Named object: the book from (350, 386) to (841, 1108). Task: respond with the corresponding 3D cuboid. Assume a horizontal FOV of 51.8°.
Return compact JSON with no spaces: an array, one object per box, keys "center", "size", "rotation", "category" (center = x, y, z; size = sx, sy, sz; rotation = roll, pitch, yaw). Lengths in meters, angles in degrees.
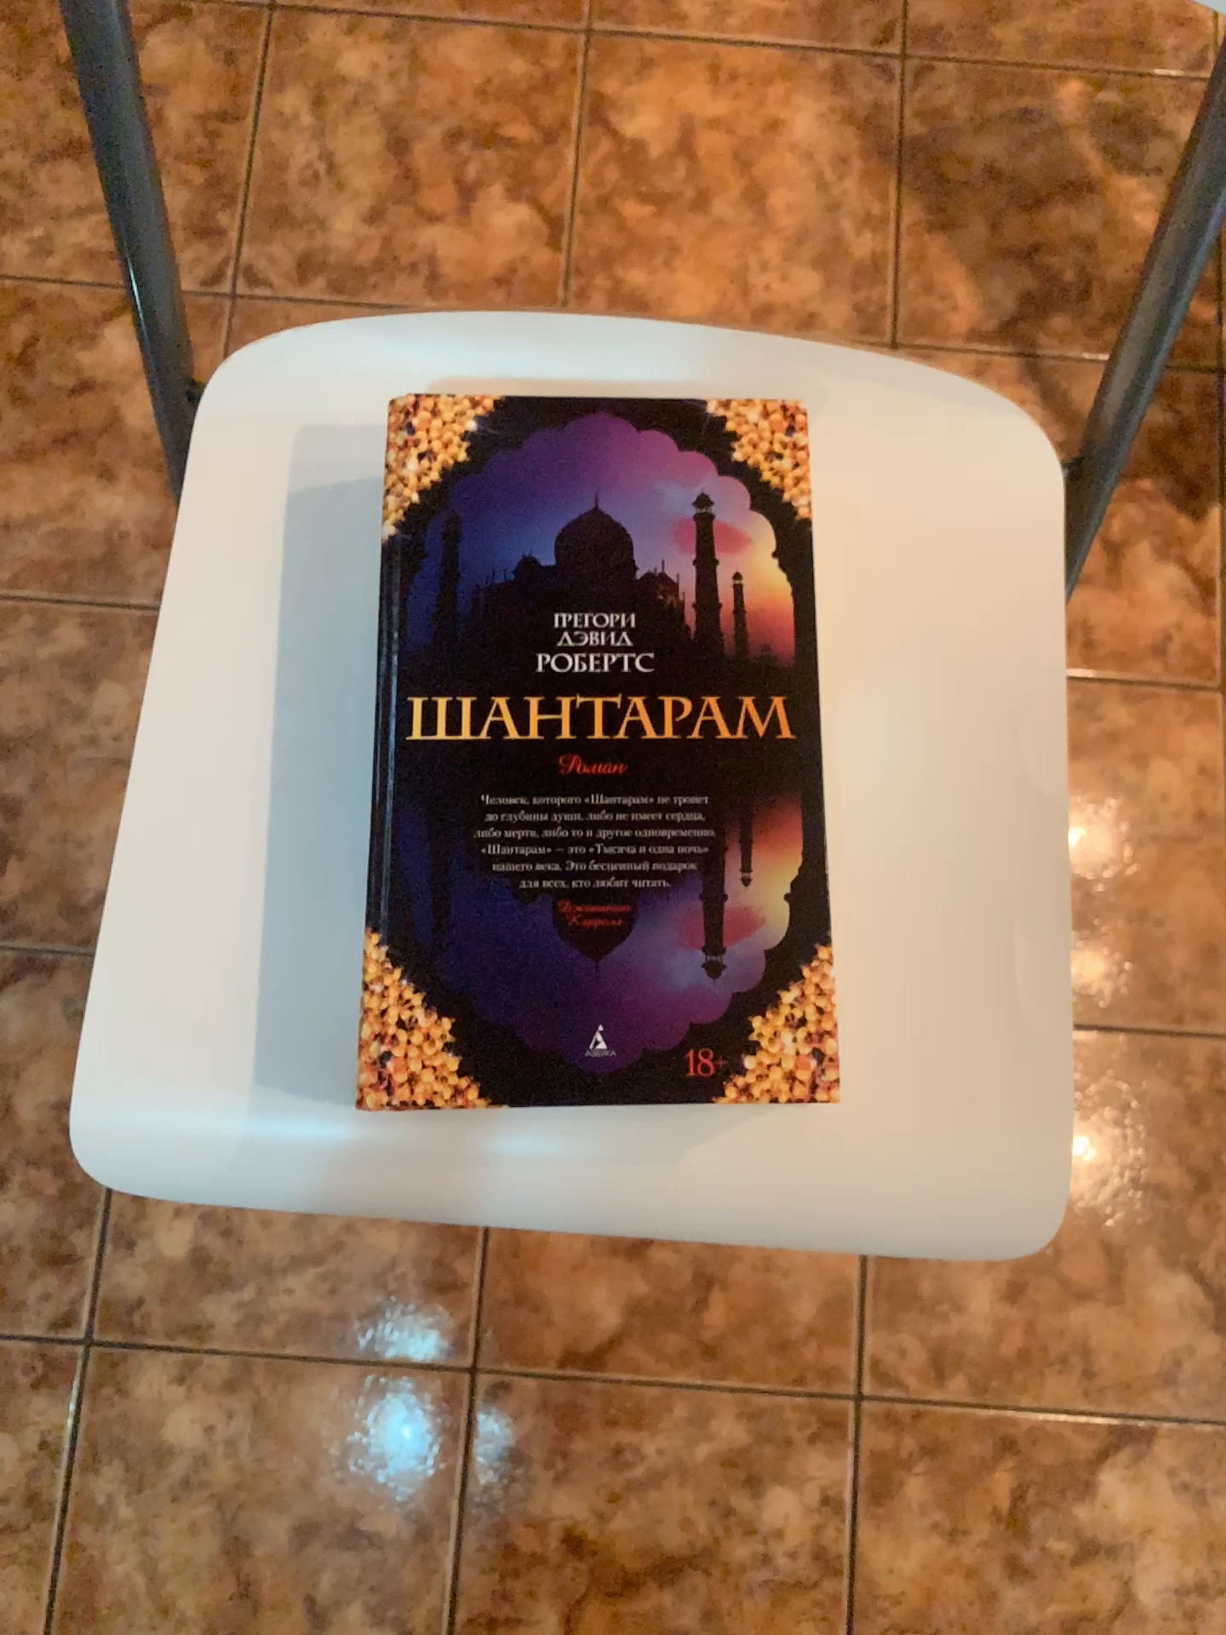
[{"center":[-0.006,-0.025,0.420],"size":[0.145,0.044,0.236],"rotation":[0,77,0],"category":"book"}]
